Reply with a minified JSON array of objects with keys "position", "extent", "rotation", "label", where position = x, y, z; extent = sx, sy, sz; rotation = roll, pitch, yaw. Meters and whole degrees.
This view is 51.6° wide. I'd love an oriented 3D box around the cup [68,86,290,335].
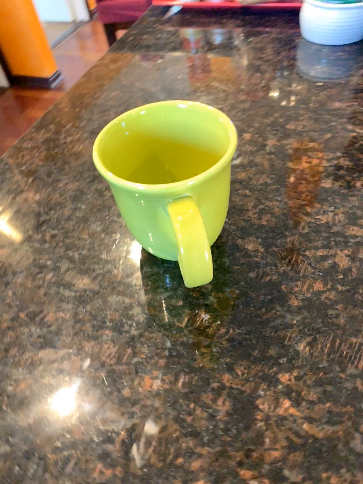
[{"position":[-0.010,-0.032,0.279],"extent":[0.110,0.080,0.151],"rotation":[-17,49,-6],"label":"cup"}]
